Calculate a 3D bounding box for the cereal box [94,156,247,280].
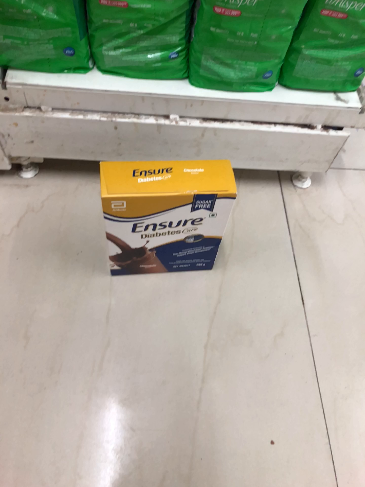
[{"bbox_3d":[-0.019,-0.021,0.455,0.140,0.169,0.050,-2,60,-7],"label":"cereal box"}]
